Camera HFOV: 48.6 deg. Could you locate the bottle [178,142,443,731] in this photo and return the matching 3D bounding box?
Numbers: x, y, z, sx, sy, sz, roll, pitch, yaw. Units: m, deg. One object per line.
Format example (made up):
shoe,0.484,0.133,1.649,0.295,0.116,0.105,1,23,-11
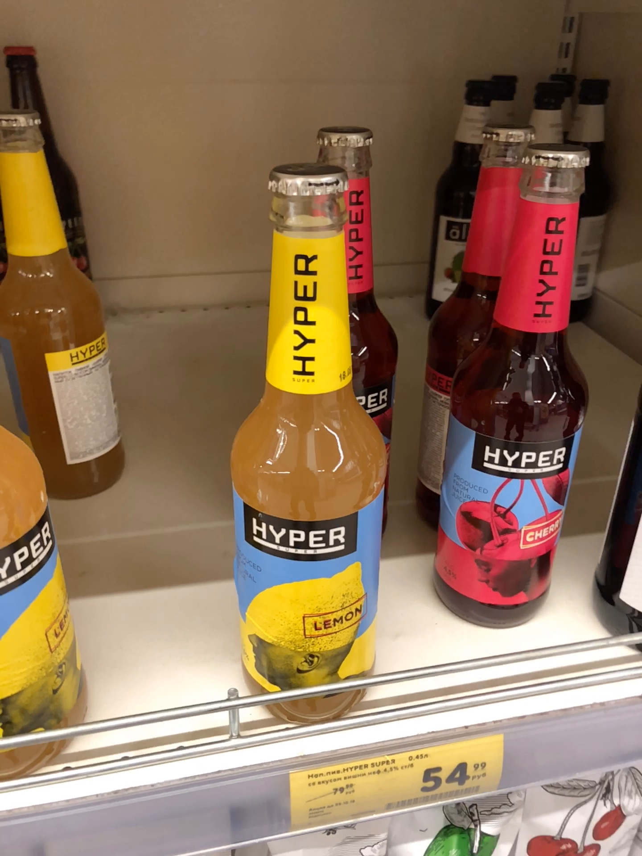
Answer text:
bottle,0.000,0.011,0.305,0.080,0.239,0.080,0,29,0
